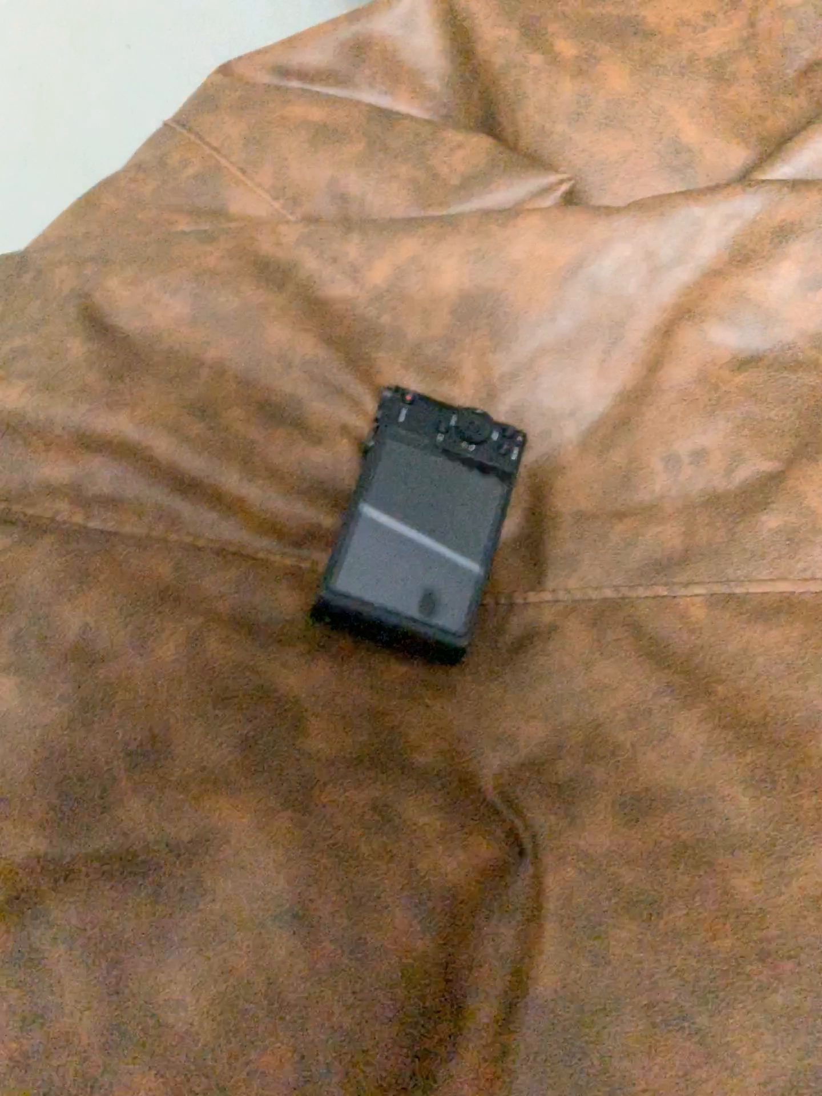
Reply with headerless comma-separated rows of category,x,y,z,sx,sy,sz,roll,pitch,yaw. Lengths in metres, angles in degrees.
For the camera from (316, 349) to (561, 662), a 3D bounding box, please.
camera,0.011,-0.017,0.307,0.060,0.024,0.100,17,67,4
